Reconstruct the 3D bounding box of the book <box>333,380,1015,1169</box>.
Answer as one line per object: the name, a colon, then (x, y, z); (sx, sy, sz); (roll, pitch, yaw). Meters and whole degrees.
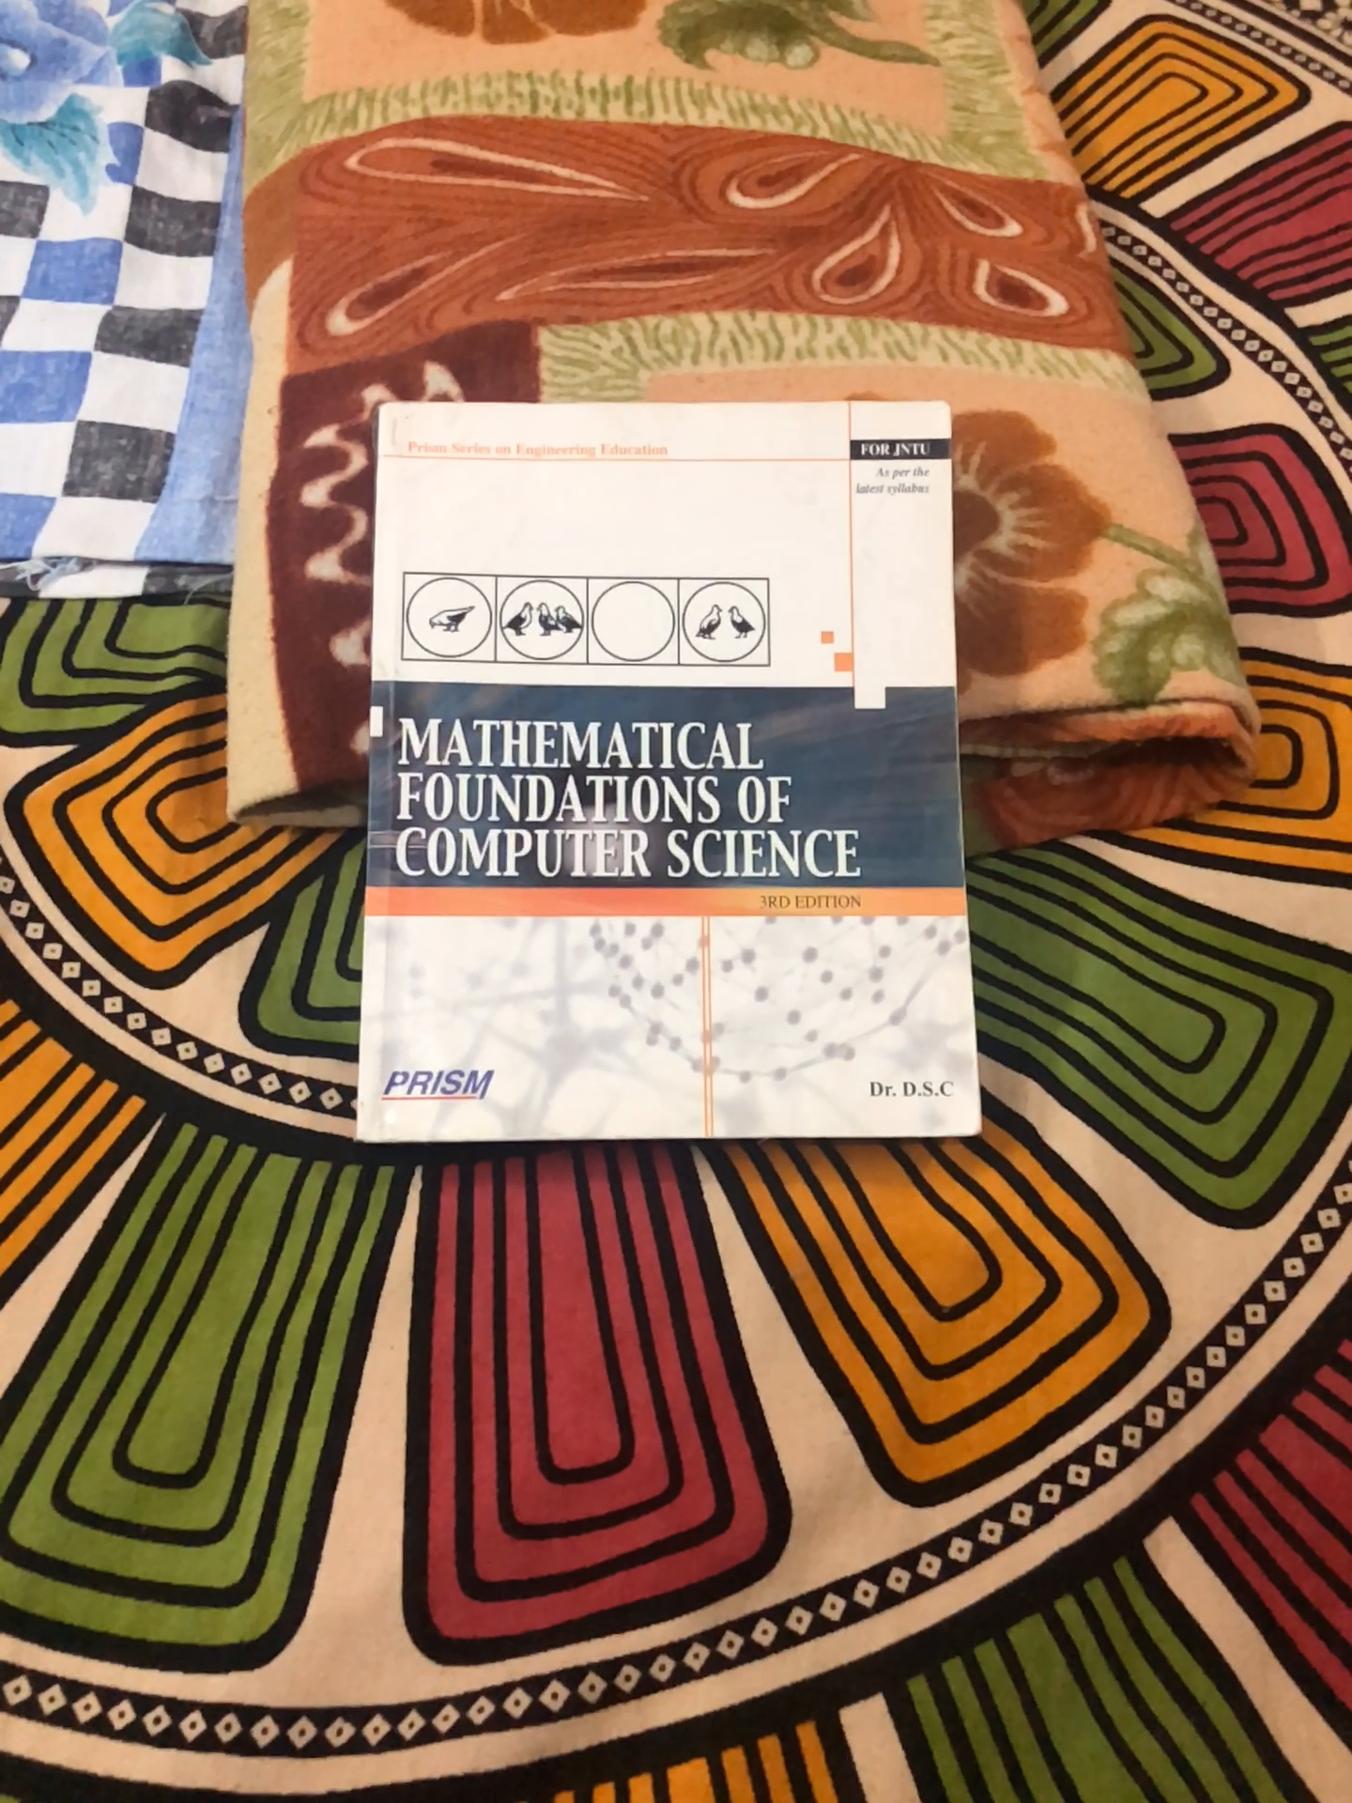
book: (-0.003, -0.041, 0.475); (0.190, 0.060, 0.240); (-1, 76, -1)
